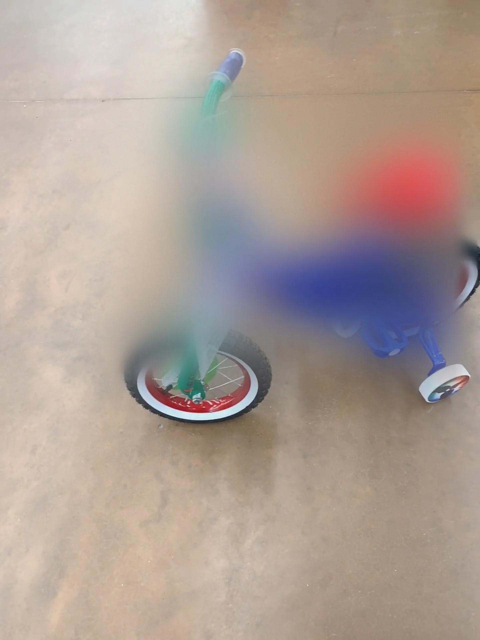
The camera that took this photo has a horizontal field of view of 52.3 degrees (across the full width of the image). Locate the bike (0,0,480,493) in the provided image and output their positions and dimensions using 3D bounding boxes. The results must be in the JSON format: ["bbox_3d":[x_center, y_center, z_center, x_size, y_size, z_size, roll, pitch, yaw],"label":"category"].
[{"bbox_3d":[0.122,-0.125,0.891,0.775,0.670,0.461,-17,55,-7],"label":"bike"}]
